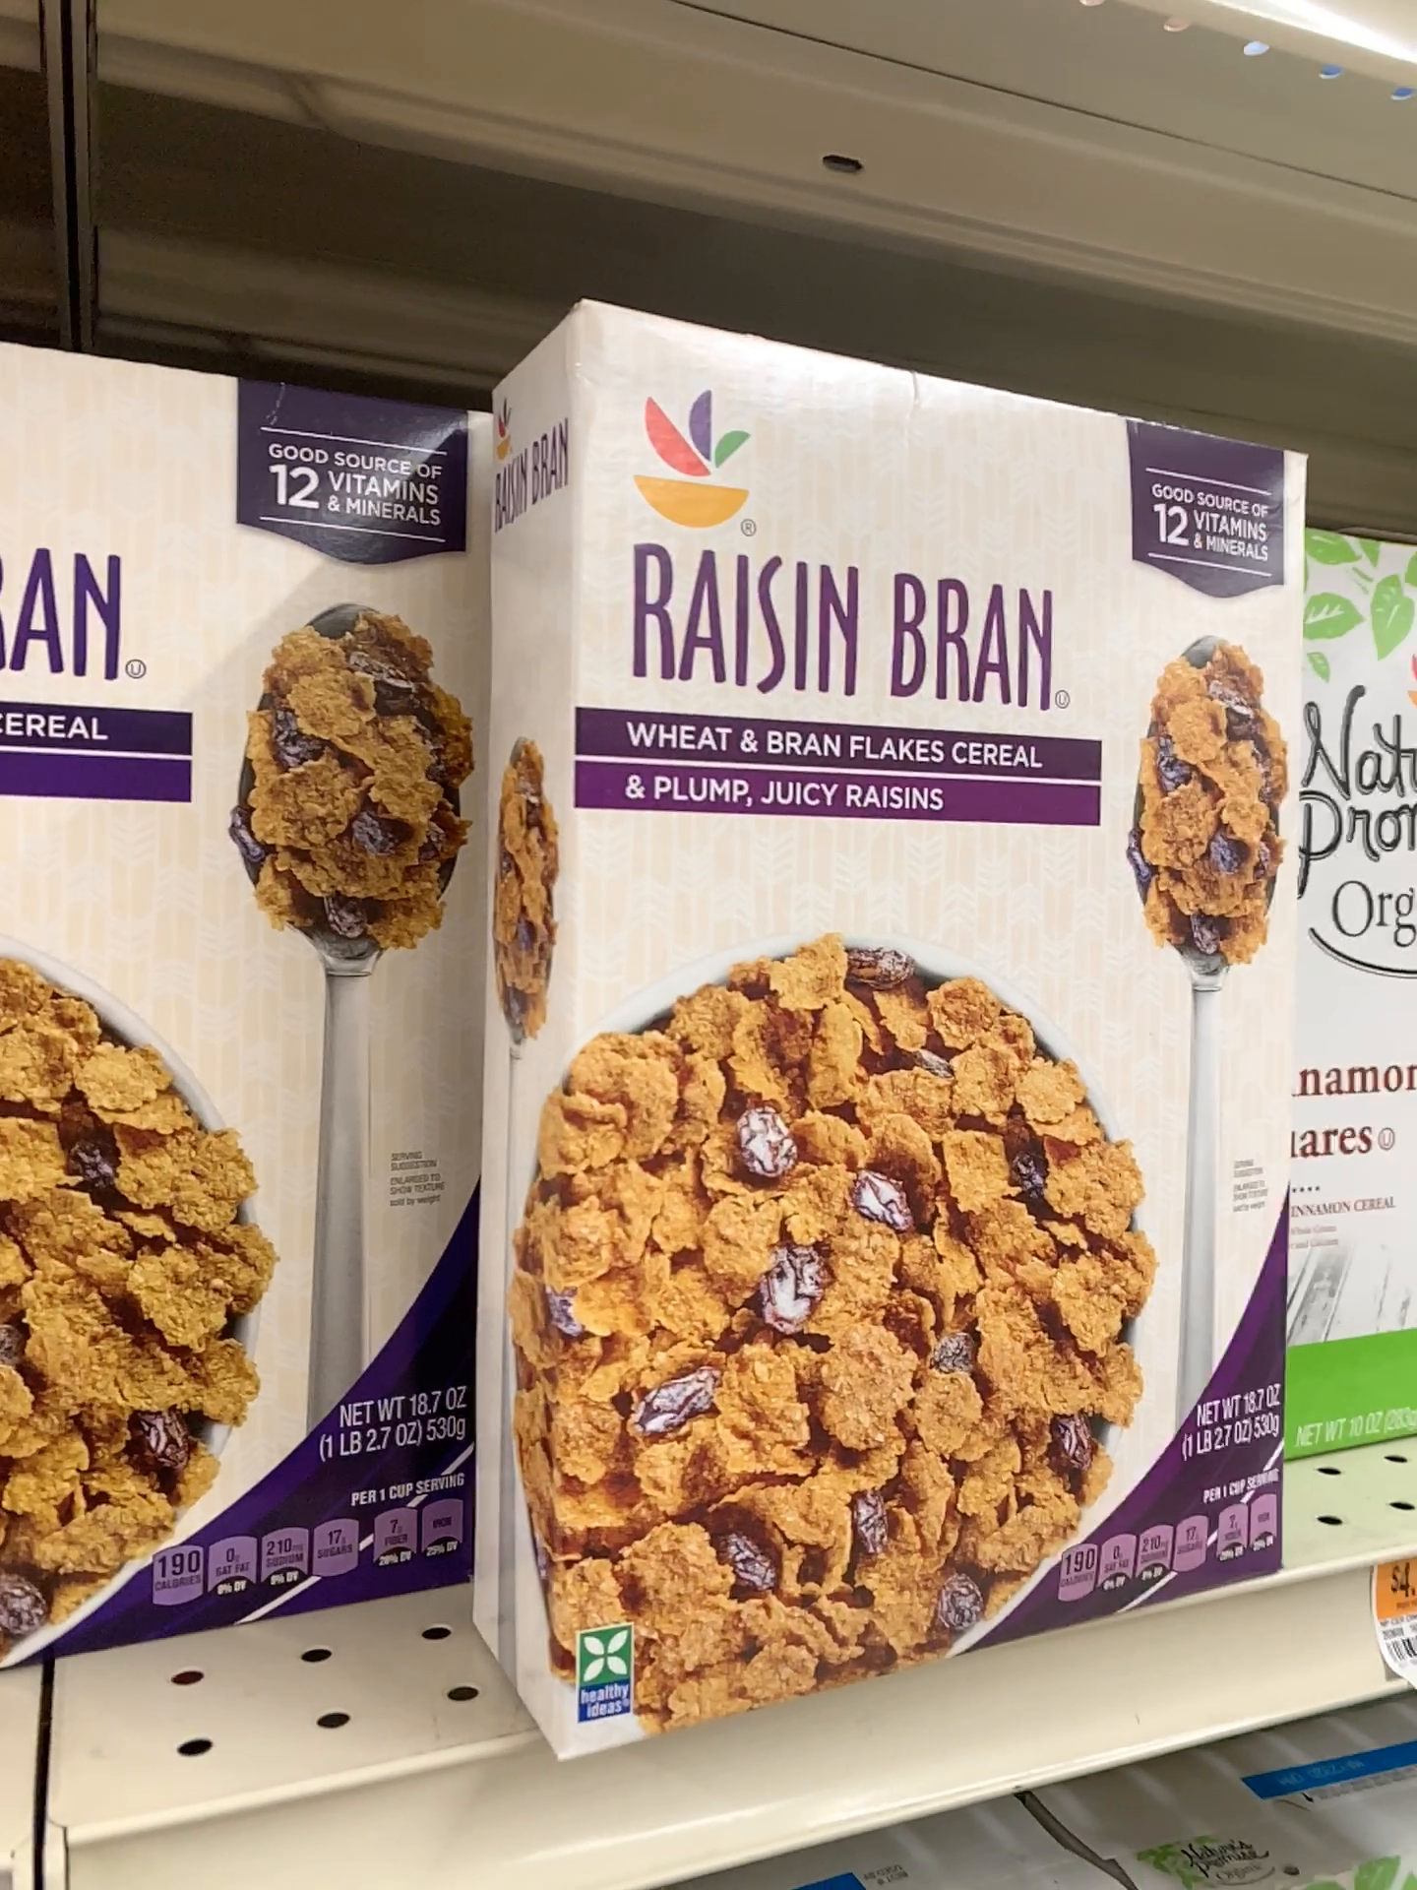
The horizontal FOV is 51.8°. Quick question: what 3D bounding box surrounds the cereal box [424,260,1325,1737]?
[{"bbox_3d":[0.039,0.010,0.338,0.190,0.270,0.070,0,3,-25],"label":"cereal box"}]
